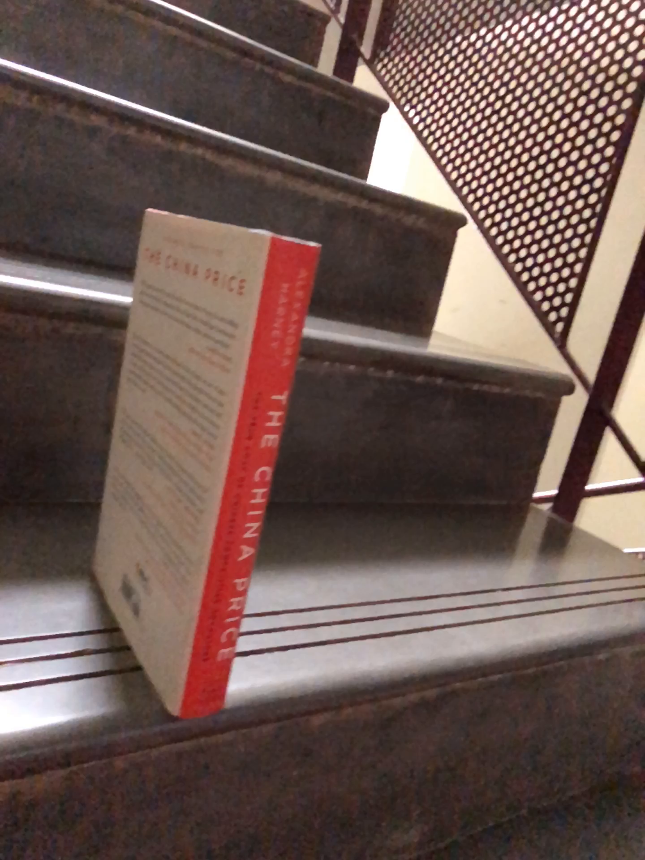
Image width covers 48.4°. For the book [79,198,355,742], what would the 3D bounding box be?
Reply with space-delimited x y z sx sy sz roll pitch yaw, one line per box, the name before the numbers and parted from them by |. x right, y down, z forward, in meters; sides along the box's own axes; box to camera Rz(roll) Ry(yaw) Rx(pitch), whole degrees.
book | -0.075 0.006 0.394 0.040 0.239 0.180 4 16 -34
